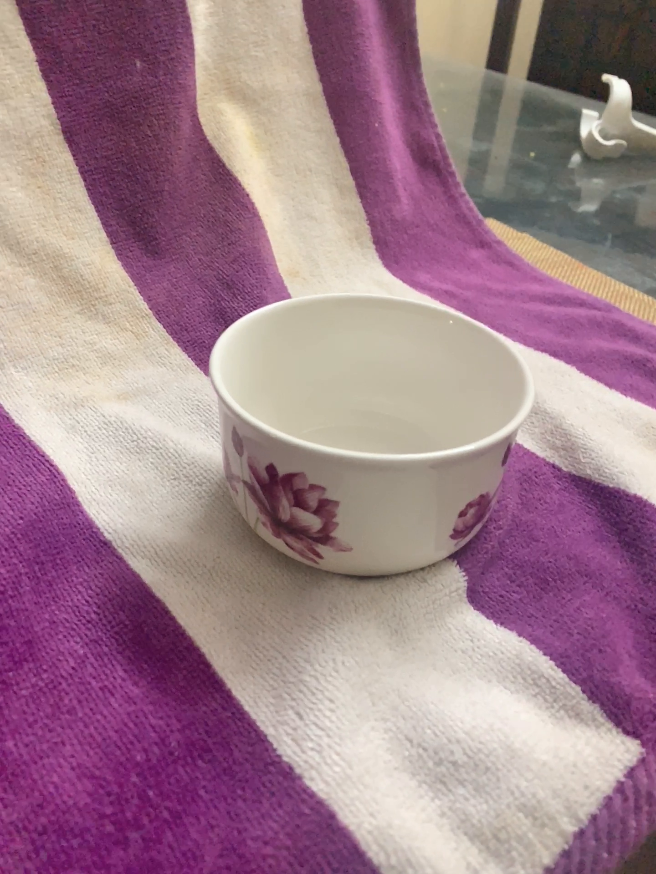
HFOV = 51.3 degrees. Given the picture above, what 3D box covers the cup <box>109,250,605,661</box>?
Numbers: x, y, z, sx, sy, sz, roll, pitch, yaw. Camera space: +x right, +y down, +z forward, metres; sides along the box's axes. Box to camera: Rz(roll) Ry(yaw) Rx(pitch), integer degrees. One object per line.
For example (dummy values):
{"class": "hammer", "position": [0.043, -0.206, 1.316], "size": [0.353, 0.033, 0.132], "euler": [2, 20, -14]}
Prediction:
{"class": "cup", "position": [0.008, -0.008, 0.219], "size": [0.110, 0.050, 0.100], "euler": [3, 37, -2]}
